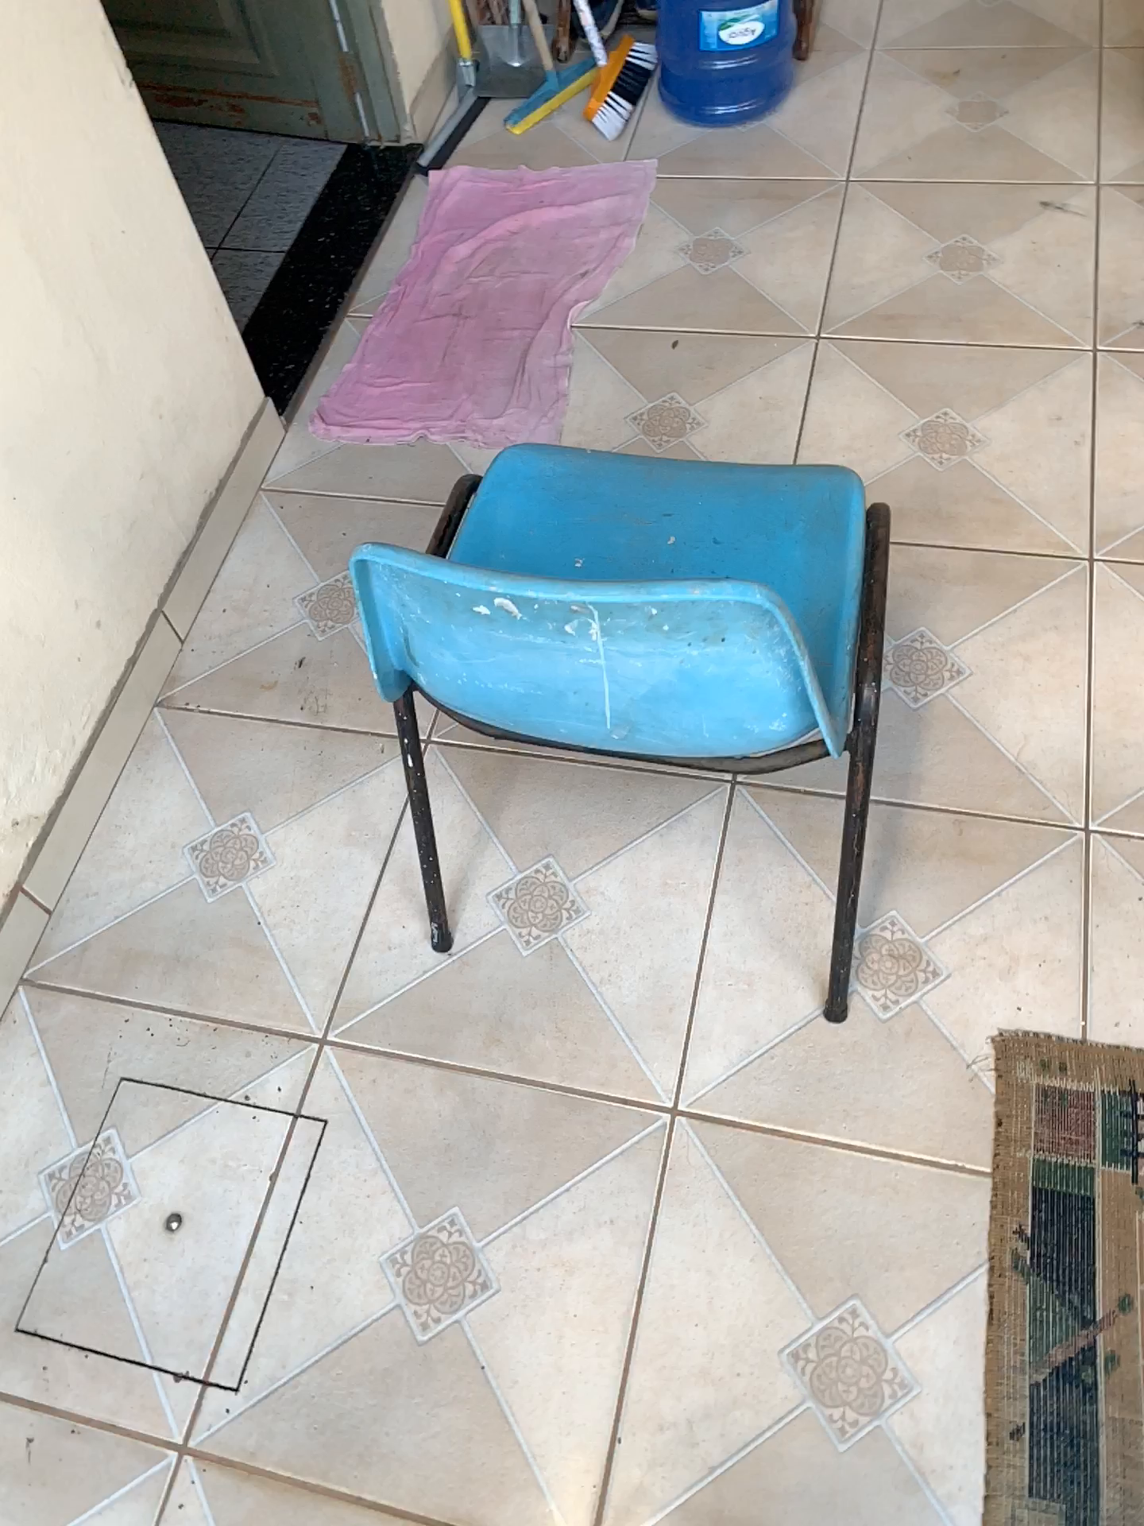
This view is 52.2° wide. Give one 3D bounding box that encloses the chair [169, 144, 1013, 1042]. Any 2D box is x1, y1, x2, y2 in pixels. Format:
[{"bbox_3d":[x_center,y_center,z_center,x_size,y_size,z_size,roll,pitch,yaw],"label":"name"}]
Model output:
[{"bbox_3d":[0.079,-0.134,1.185,0.550,0.687,0.532,8,59,12],"label":"chair"}]
